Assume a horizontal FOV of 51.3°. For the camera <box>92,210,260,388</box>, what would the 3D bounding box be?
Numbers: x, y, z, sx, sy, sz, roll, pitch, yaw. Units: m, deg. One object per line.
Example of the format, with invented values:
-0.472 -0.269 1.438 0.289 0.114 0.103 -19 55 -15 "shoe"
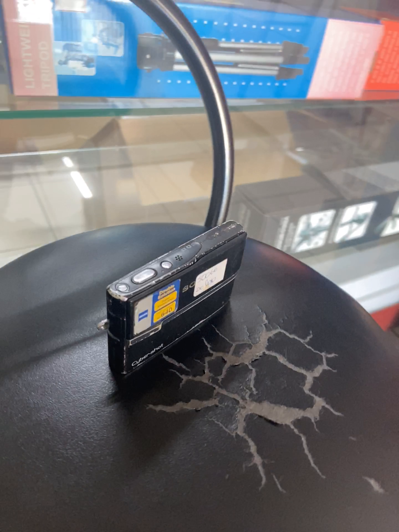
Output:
-0.010 0.014 0.230 0.020 0.060 0.100 34 44 29 "camera"
